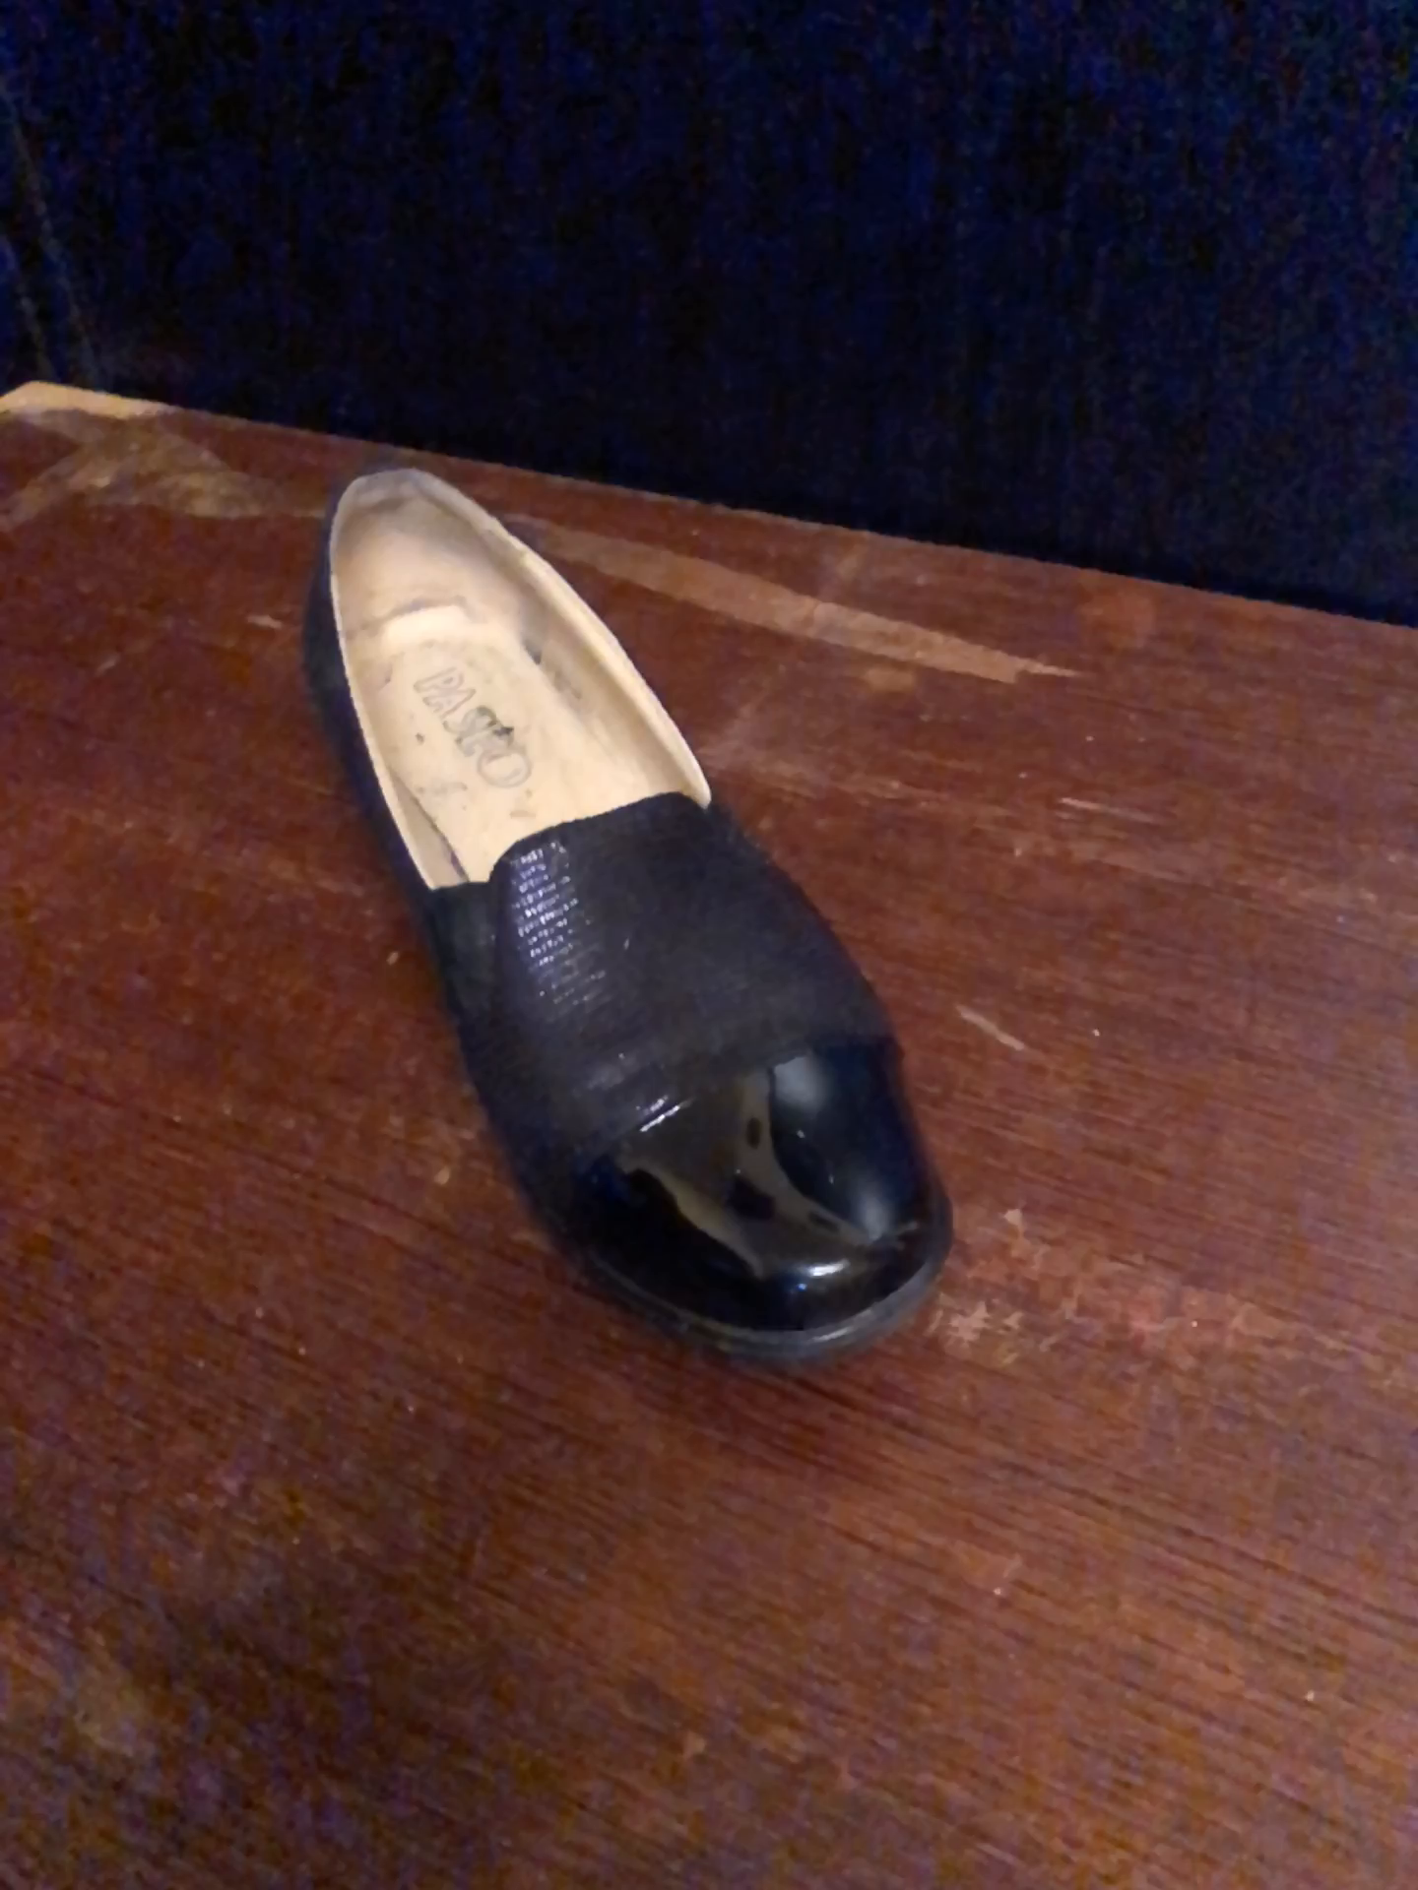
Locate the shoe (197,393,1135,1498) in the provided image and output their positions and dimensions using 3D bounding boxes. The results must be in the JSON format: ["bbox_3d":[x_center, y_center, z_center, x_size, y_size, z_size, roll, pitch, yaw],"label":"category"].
[{"bbox_3d":[-0.025,-0.021,0.333,0.090,0.070,0.237,-21,51,-17],"label":"shoe"}]
